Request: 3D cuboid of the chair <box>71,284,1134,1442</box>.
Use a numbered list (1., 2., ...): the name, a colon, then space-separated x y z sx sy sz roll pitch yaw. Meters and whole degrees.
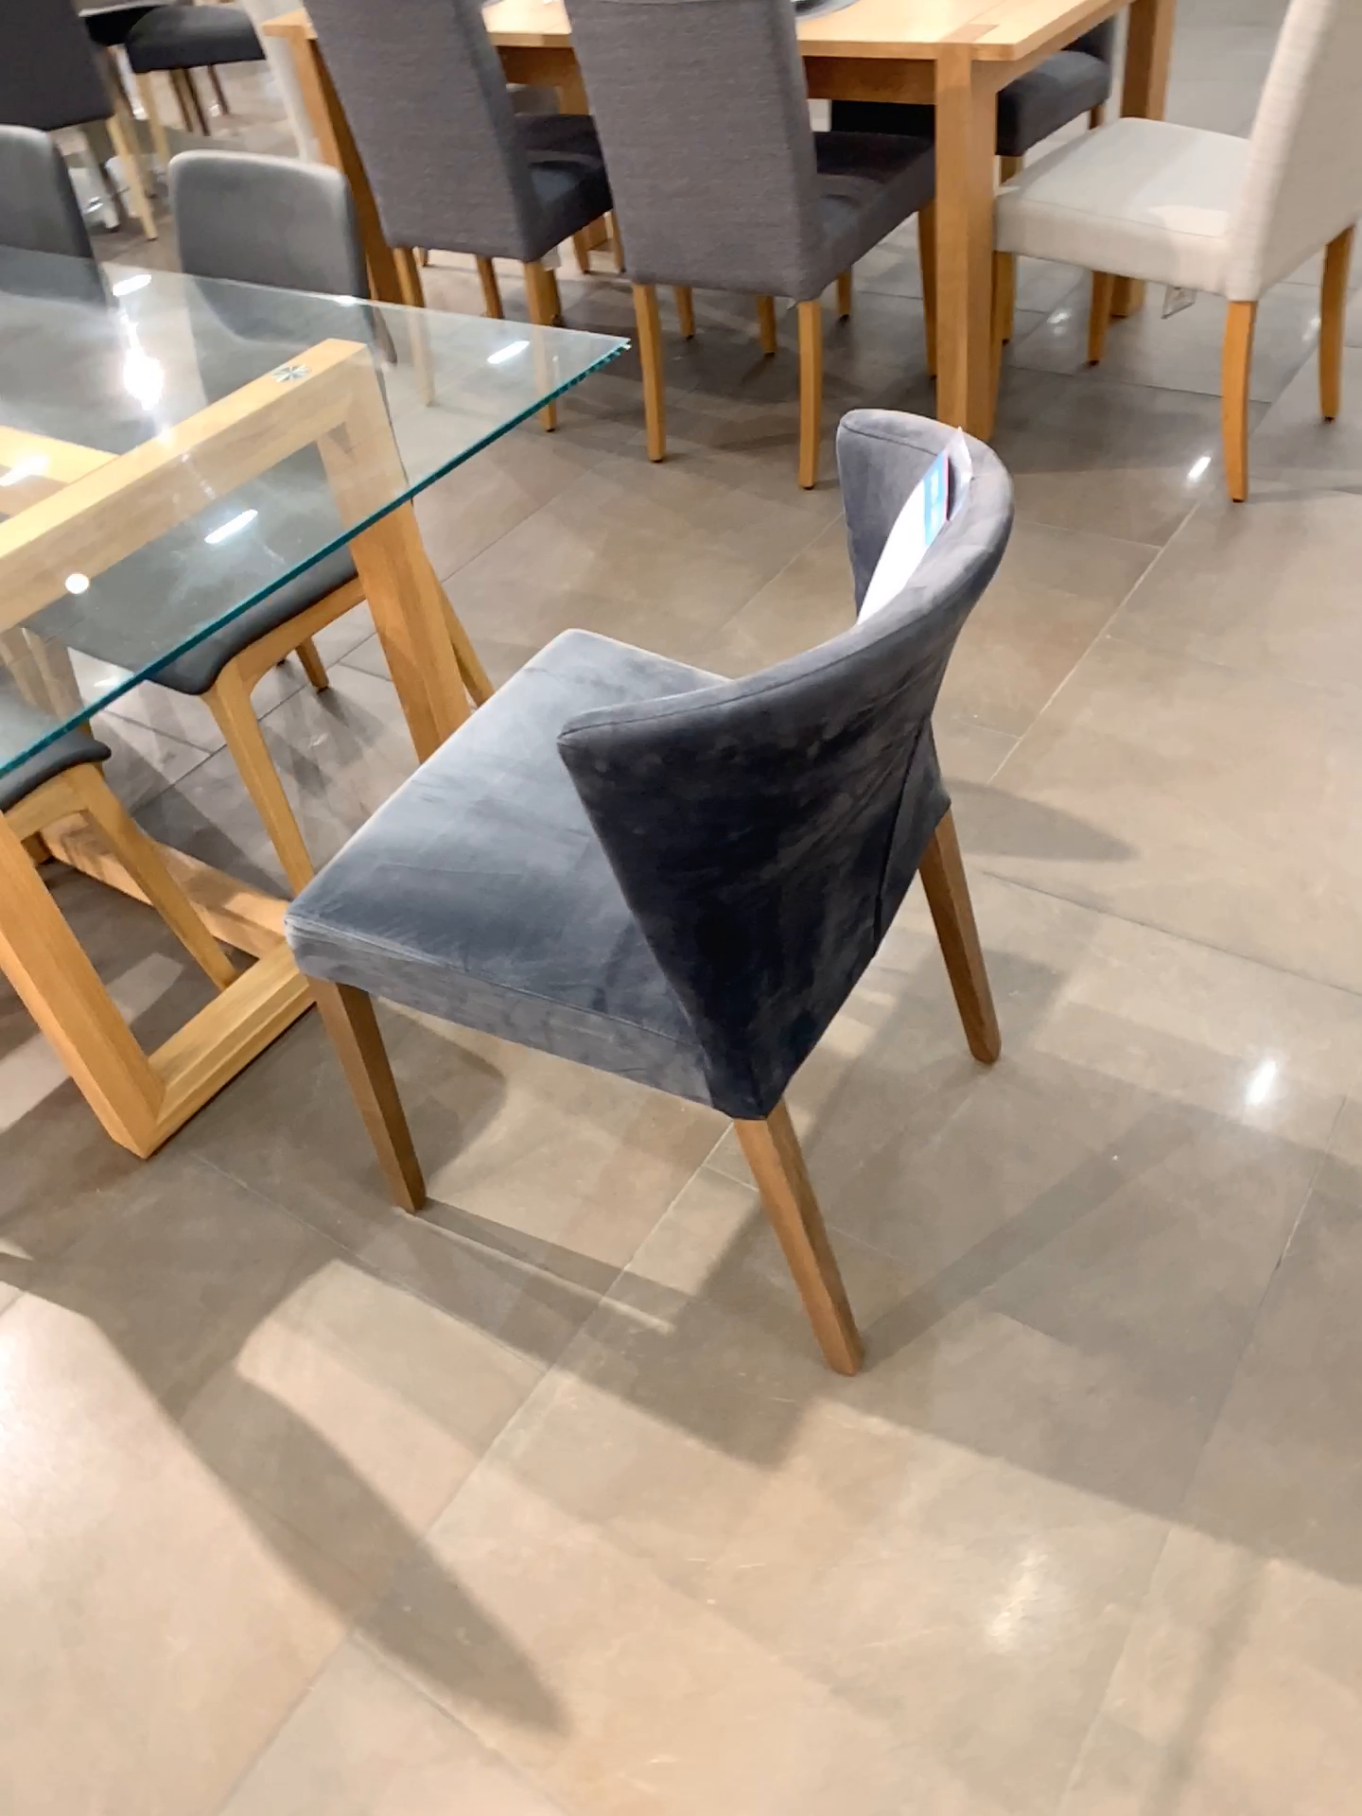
1. chair: 0.002 -0.059 1.340 0.615 0.805 0.581 18 49 27
